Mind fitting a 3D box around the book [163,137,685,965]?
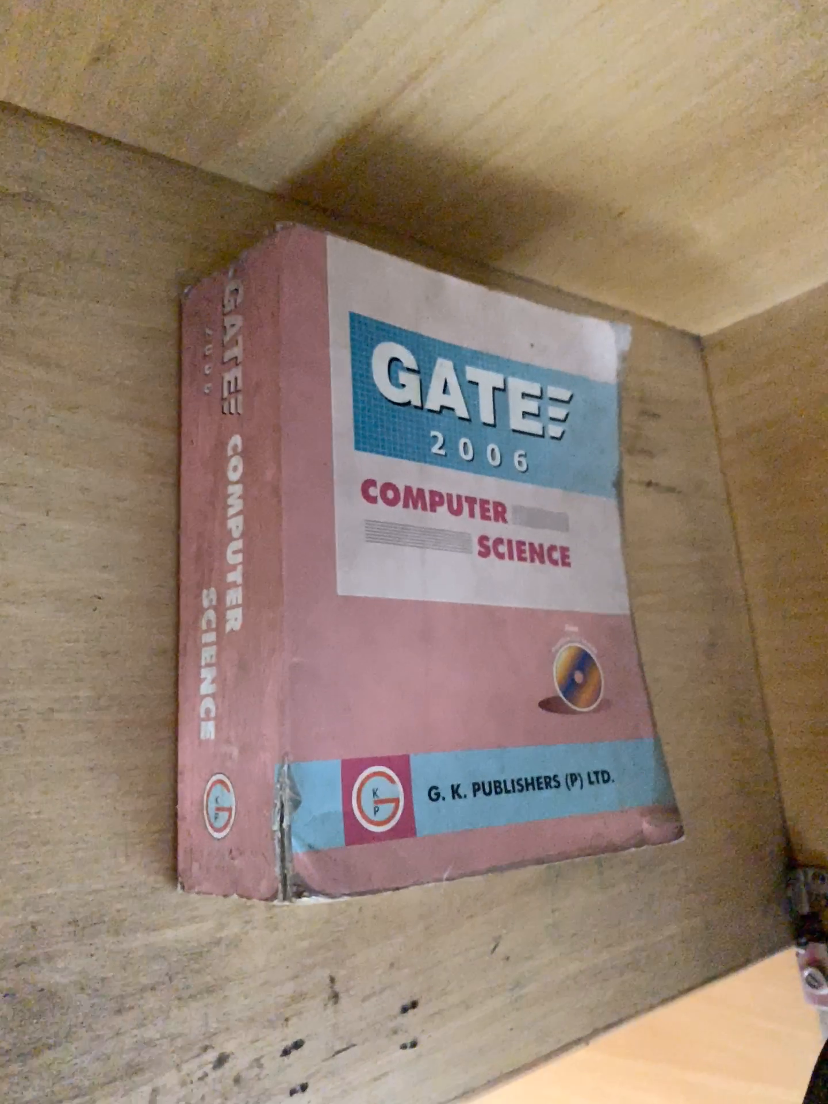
[{"bbox_3d":[0.005,0.002,0.360,0.191,0.079,0.270,7,73,-37],"label":"book"}]
